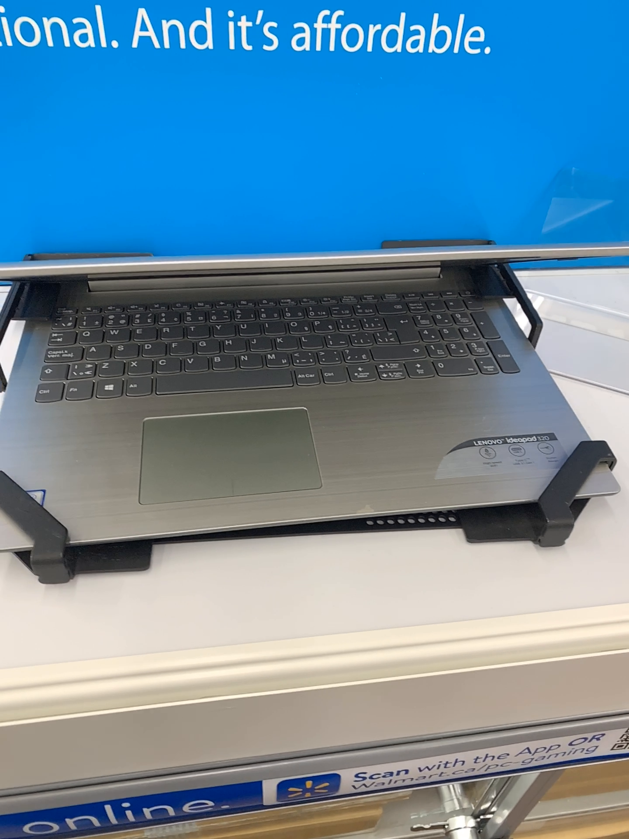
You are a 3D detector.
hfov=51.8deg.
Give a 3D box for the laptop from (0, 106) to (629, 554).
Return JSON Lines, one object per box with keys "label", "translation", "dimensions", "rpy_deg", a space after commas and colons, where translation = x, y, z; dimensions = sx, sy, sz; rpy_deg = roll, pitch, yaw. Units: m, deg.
{"label": "laptop", "translation": [-0.012, -0.073, 0.360], "dimensions": [0.326, 0.115, 0.230], "rpy_deg": [-4, 44, -8]}
